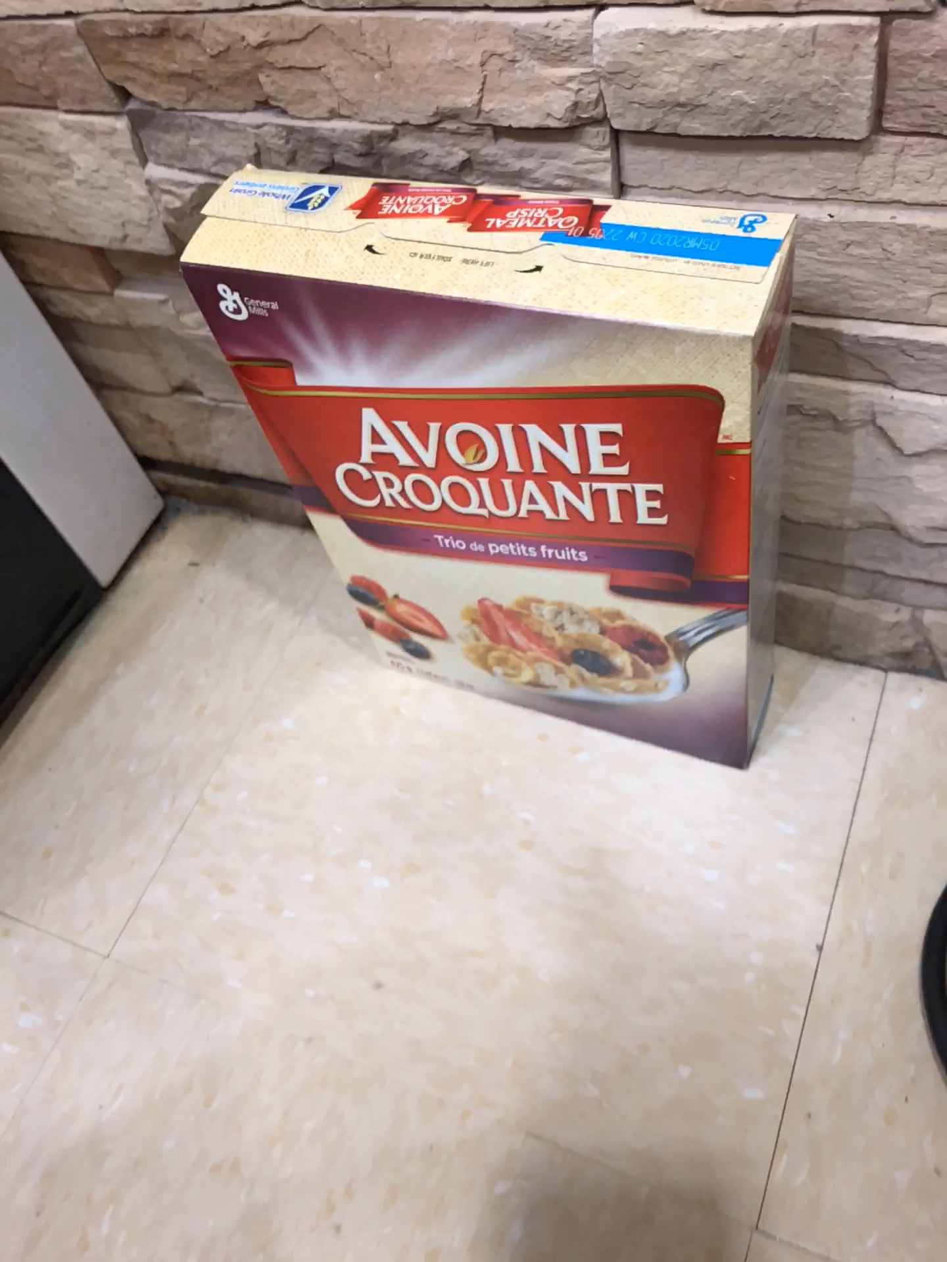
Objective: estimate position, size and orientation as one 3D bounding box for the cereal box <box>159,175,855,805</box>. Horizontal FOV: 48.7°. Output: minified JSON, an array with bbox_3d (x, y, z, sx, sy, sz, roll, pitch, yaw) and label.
[{"bbox_3d":[0.026,-0.040,0.408,0.200,0.249,0.060,14,61,22],"label":"cereal box"}]
